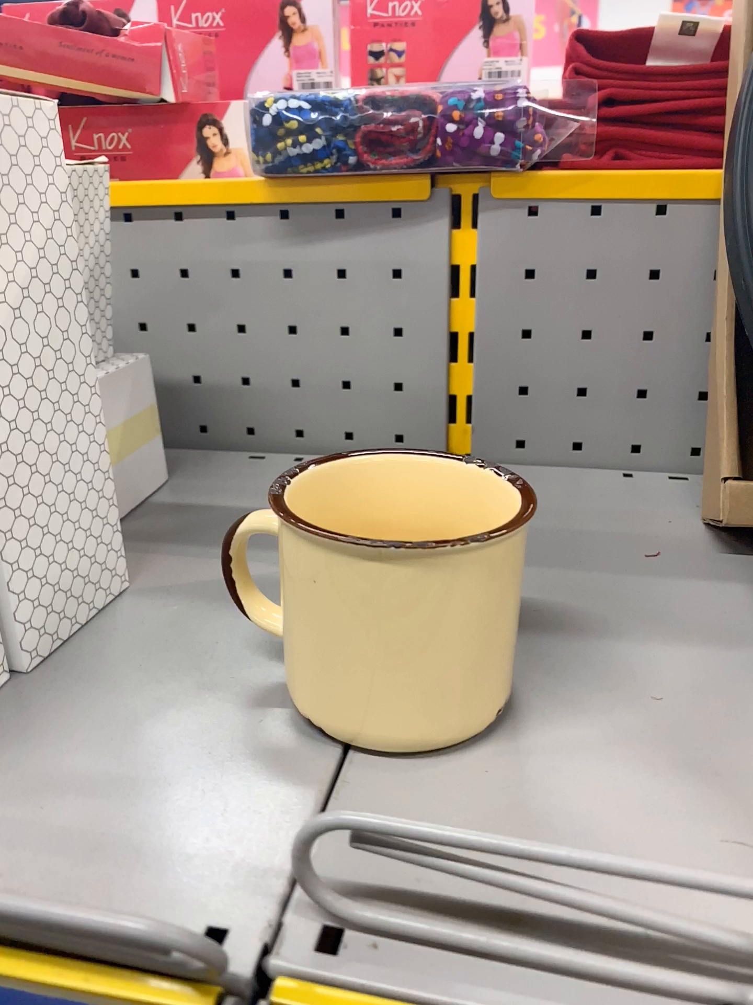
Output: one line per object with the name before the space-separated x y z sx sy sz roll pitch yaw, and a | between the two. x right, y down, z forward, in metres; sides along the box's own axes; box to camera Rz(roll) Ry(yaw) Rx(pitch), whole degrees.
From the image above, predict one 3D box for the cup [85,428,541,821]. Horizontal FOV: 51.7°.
cup | -0.013 0.031 0.263 0.120 0.080 0.090 6 23 17
